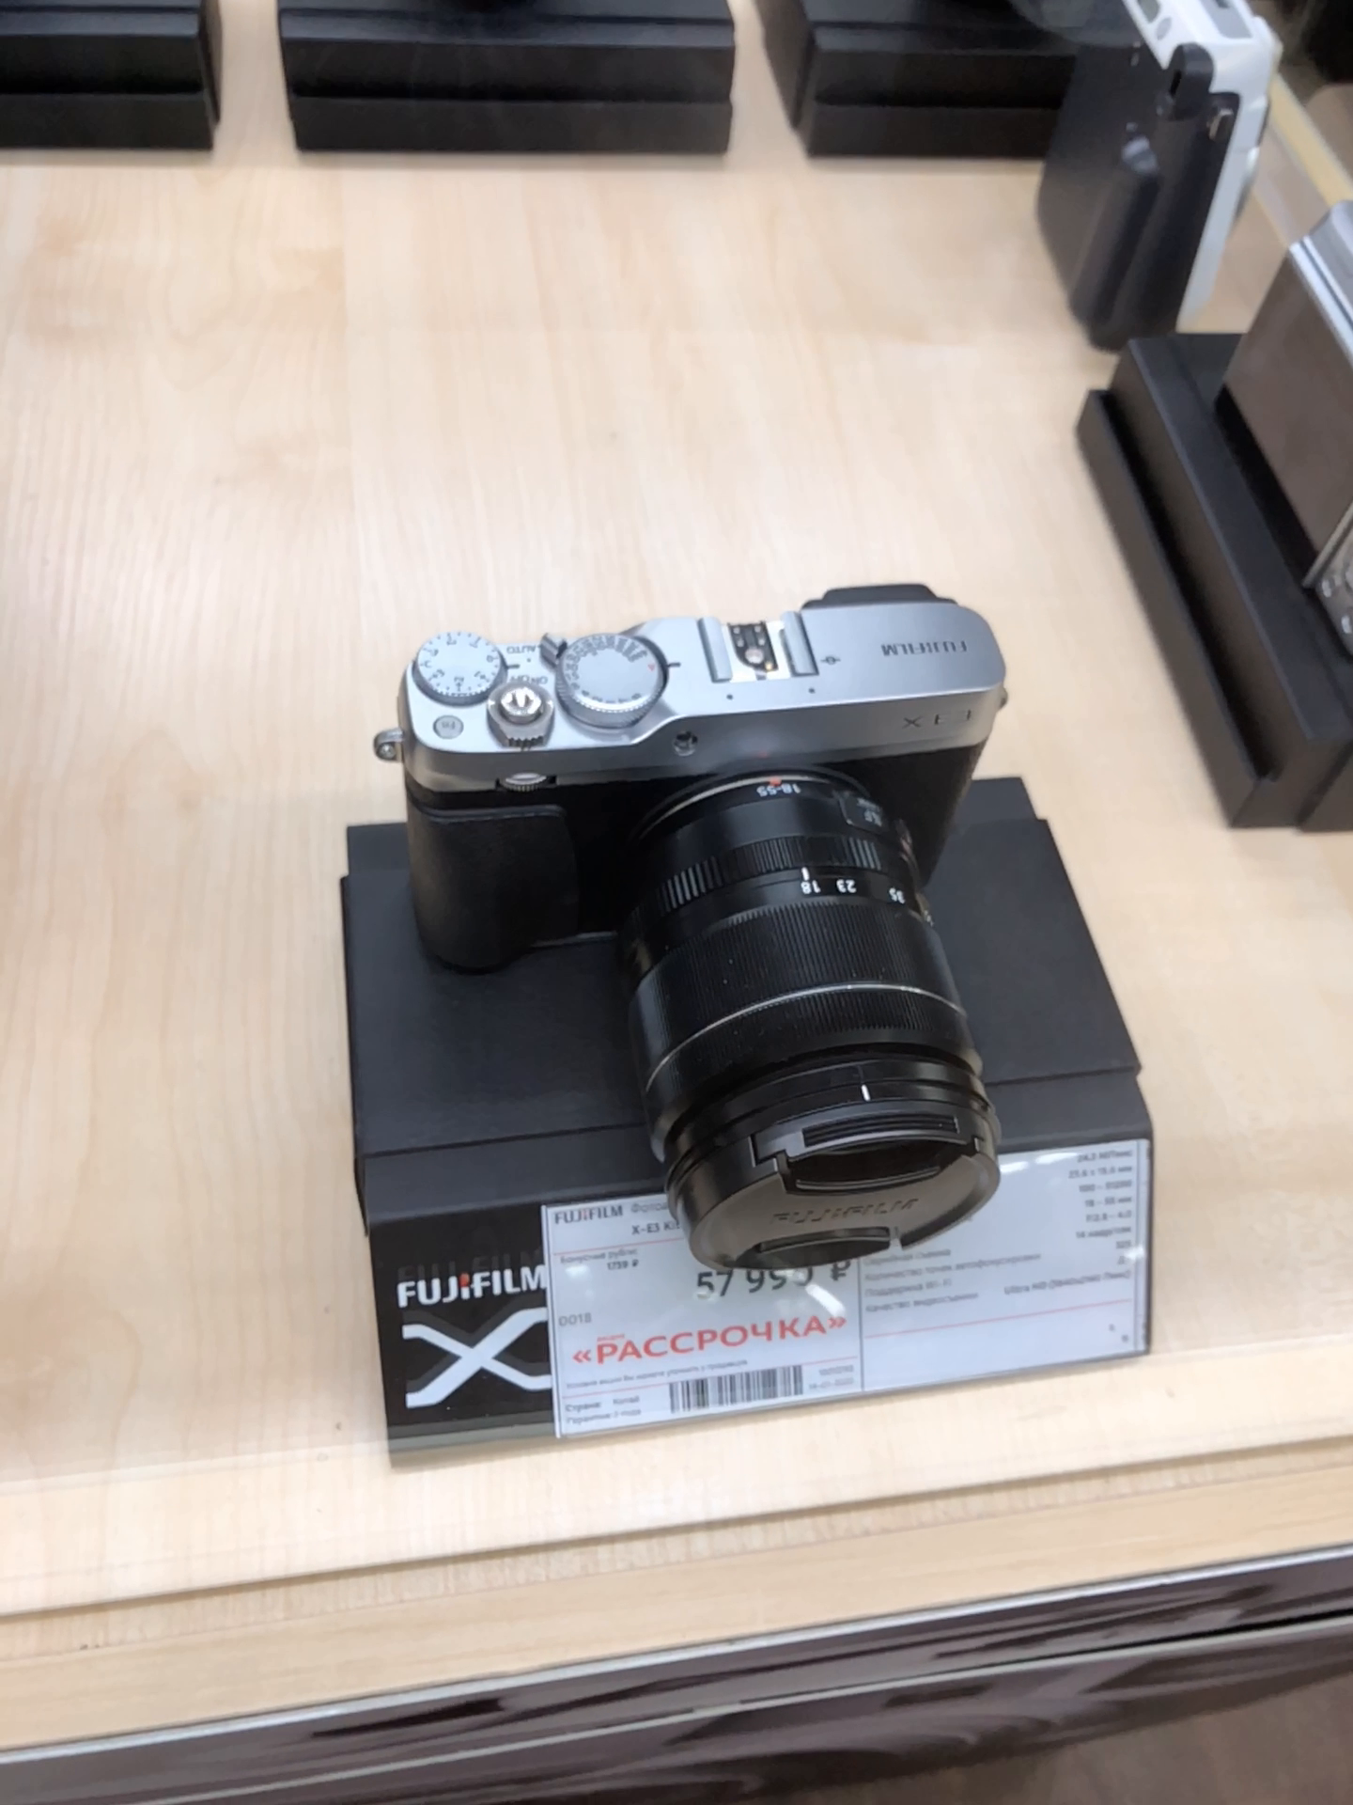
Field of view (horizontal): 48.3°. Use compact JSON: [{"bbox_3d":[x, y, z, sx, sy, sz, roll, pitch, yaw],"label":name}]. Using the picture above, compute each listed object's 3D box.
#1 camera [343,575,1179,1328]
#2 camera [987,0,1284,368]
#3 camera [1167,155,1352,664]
[{"bbox_3d":[0.006,0.007,0.304,0.131,0.080,0.116,-5,56,-10],"label":"camera"},{"bbox_3d":[0.149,-0.256,0.513,0.045,0.109,0.088,-4,56,-6],"label":"camera"},{"bbox_3d":[0.207,-0.140,0.425,0.077,0.068,0.132,-3,56,-9],"label":"camera"}]
